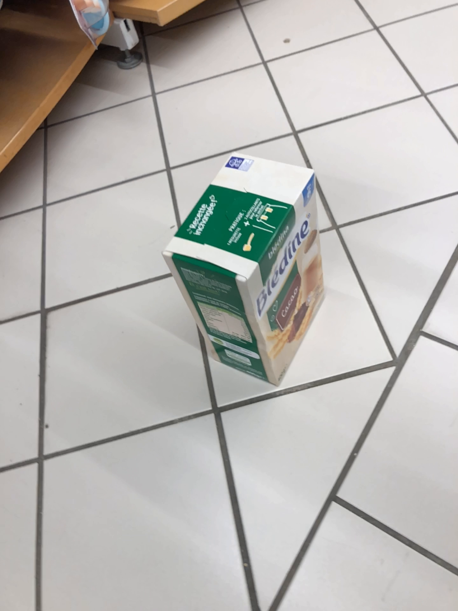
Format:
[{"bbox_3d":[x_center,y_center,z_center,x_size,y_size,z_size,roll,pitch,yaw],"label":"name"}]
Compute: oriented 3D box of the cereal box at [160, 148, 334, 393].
[{"bbox_3d":[0.033,-0.028,0.503,0.090,0.189,0.141,20,64,24],"label":"cereal box"}]
